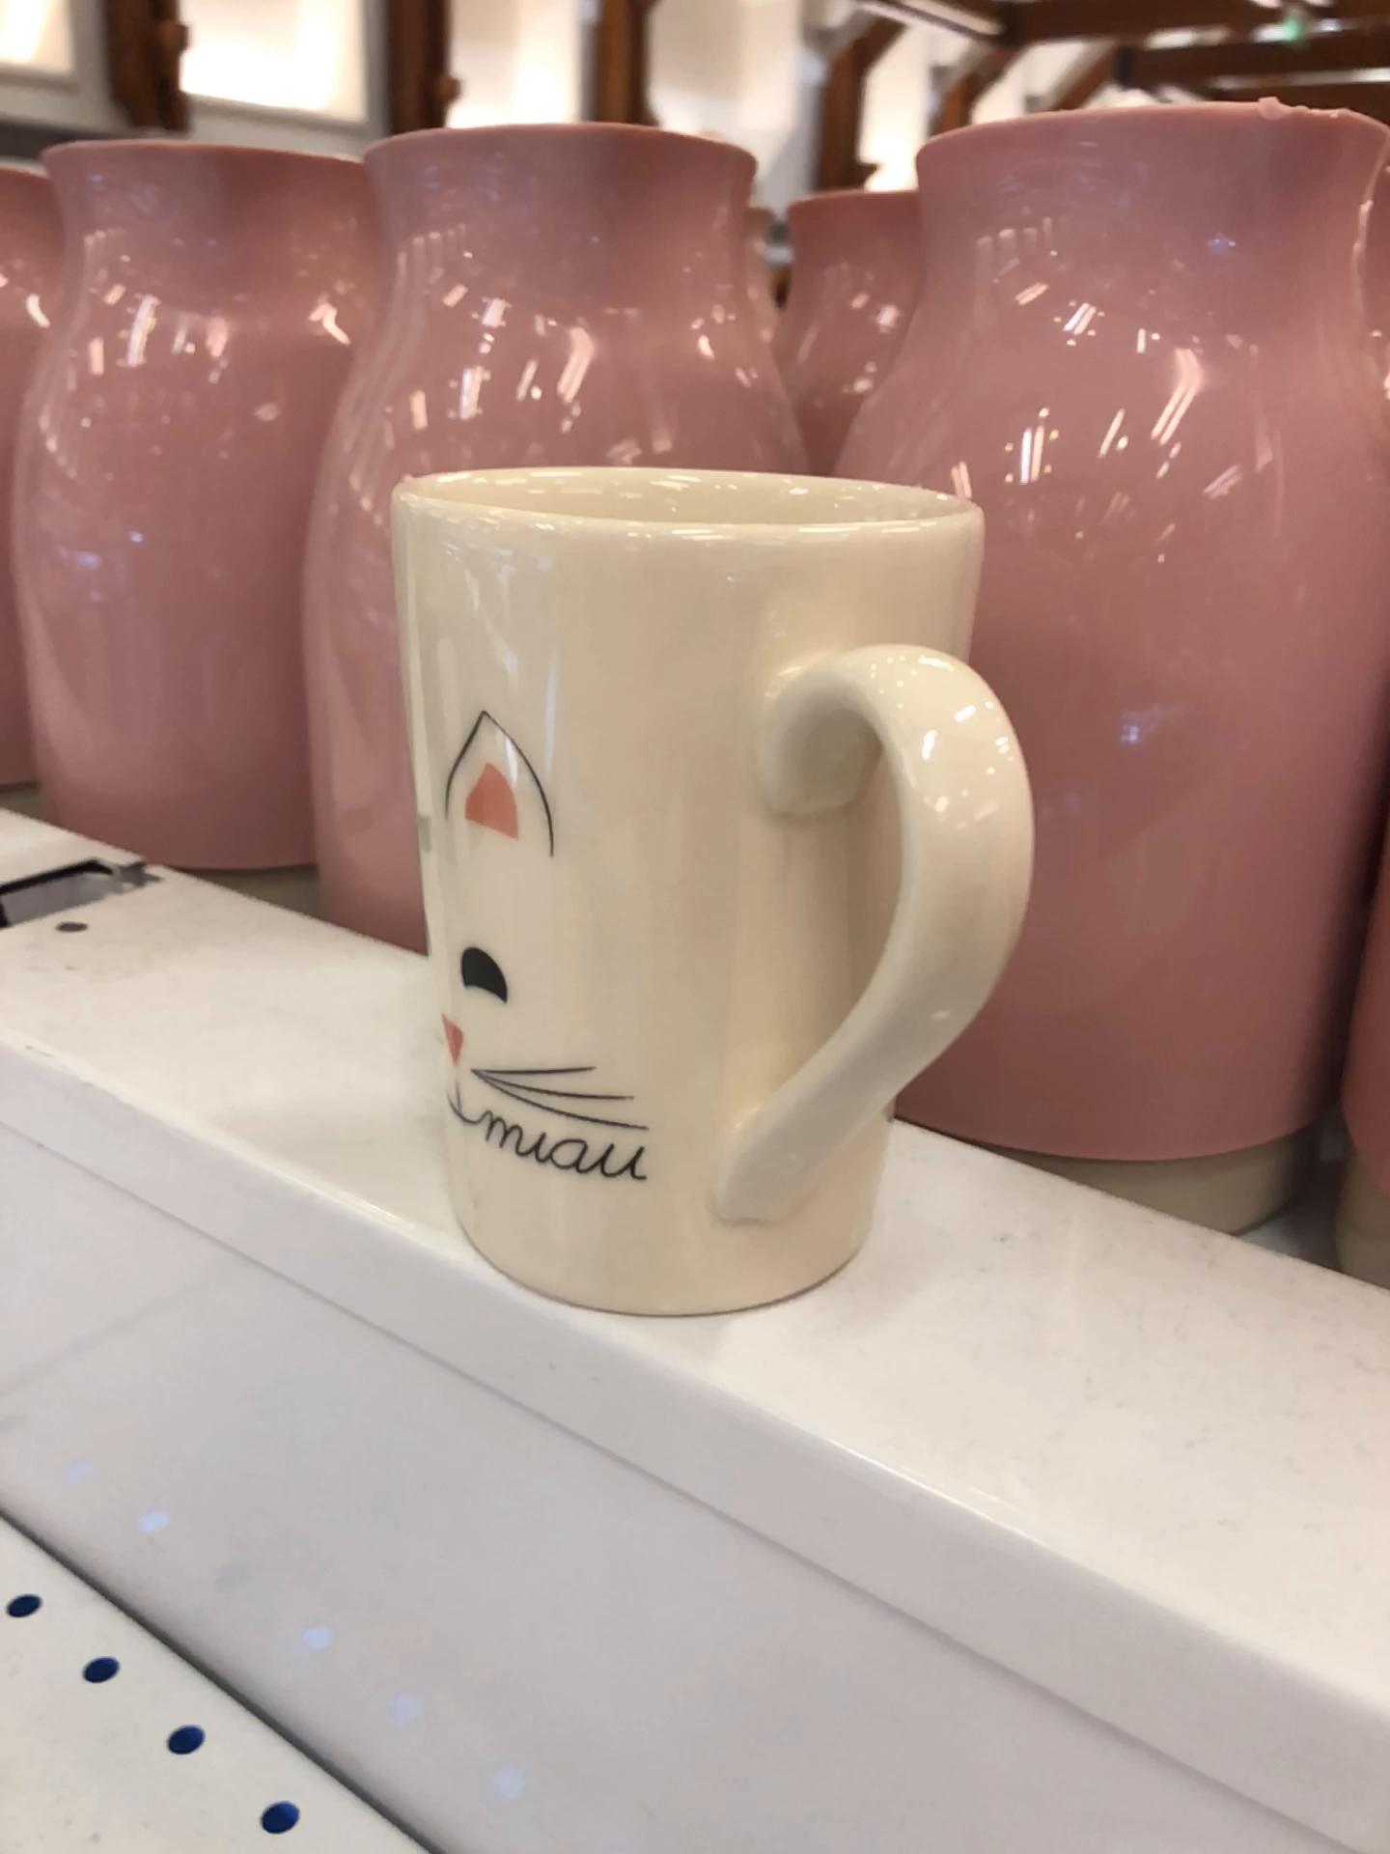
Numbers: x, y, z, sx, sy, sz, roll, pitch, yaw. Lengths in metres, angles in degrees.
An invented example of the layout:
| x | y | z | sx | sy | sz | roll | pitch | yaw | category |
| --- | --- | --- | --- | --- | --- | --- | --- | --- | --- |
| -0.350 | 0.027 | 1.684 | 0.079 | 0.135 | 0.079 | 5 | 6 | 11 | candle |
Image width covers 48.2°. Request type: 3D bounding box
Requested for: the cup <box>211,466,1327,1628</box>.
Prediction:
| x | y | z | sx | sy | sz | roll | pitch | yaw | category |
| --- | --- | --- | --- | --- | --- | --- | --- | --- | --- |
| 0.000 | -0.002 | 0.200 | 0.080 | 0.099 | 0.110 | -13 | 25 | -34 | cup |
